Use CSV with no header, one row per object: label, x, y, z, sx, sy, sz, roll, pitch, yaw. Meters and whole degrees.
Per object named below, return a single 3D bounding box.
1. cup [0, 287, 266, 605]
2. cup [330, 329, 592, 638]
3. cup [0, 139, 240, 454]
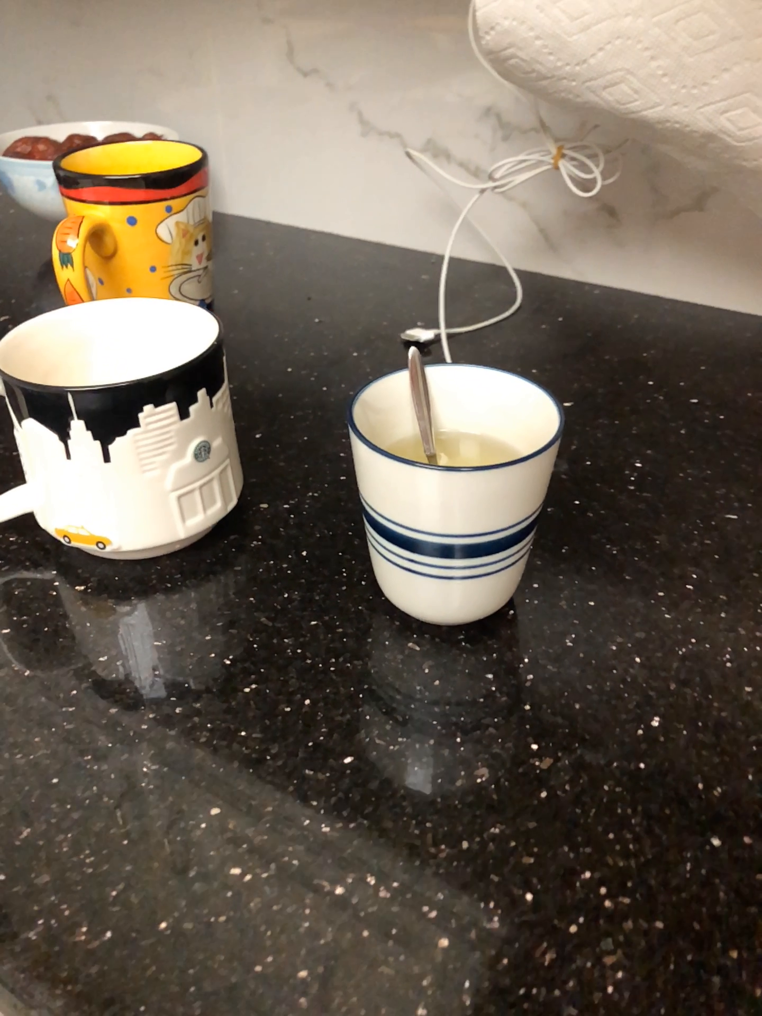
cup,-0.144,-0.036,0.430,0.150,0.109,0.101,-8,36,-11
cup,0.033,-0.013,0.390,0.100,0.109,0.091,1,35,2
cup,-0.157,-0.135,0.524,0.090,0.149,0.131,5,35,7
